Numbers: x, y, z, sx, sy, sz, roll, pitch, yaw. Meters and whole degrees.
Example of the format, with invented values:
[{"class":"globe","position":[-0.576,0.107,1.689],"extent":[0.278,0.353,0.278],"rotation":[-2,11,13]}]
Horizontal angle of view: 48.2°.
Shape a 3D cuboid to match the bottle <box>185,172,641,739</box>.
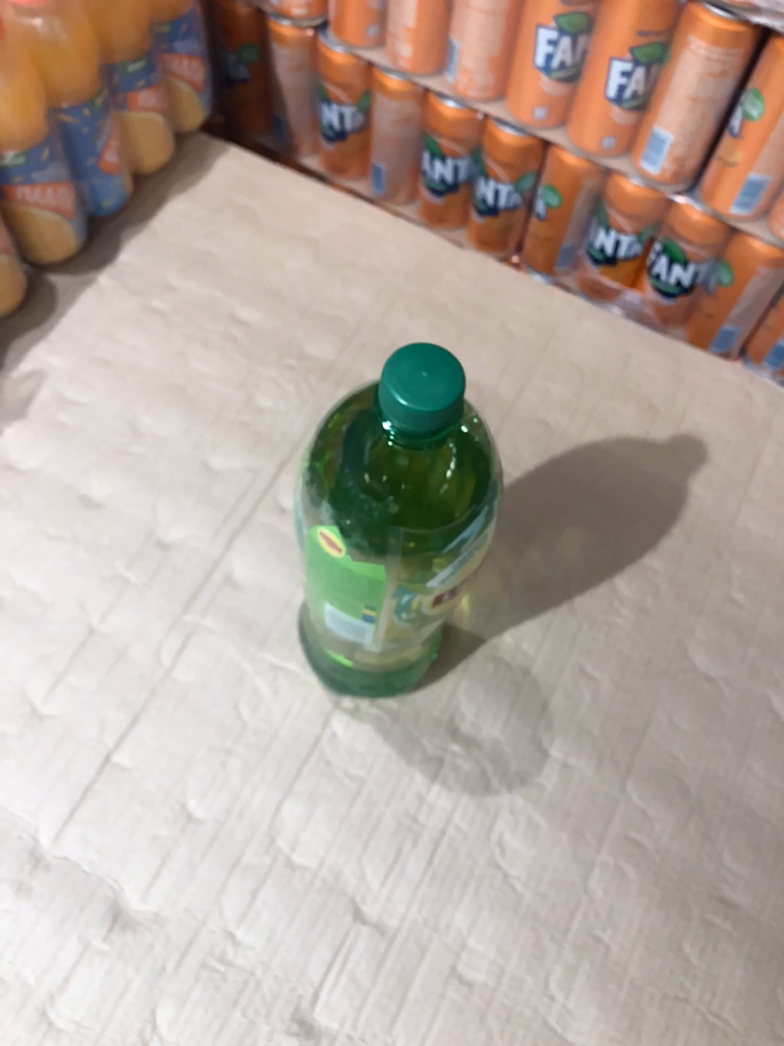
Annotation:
[{"class":"bottle","position":[0.001,-0.004,0.449],"extent":[0.120,0.289,0.120],"rotation":[2,64,-4]}]
